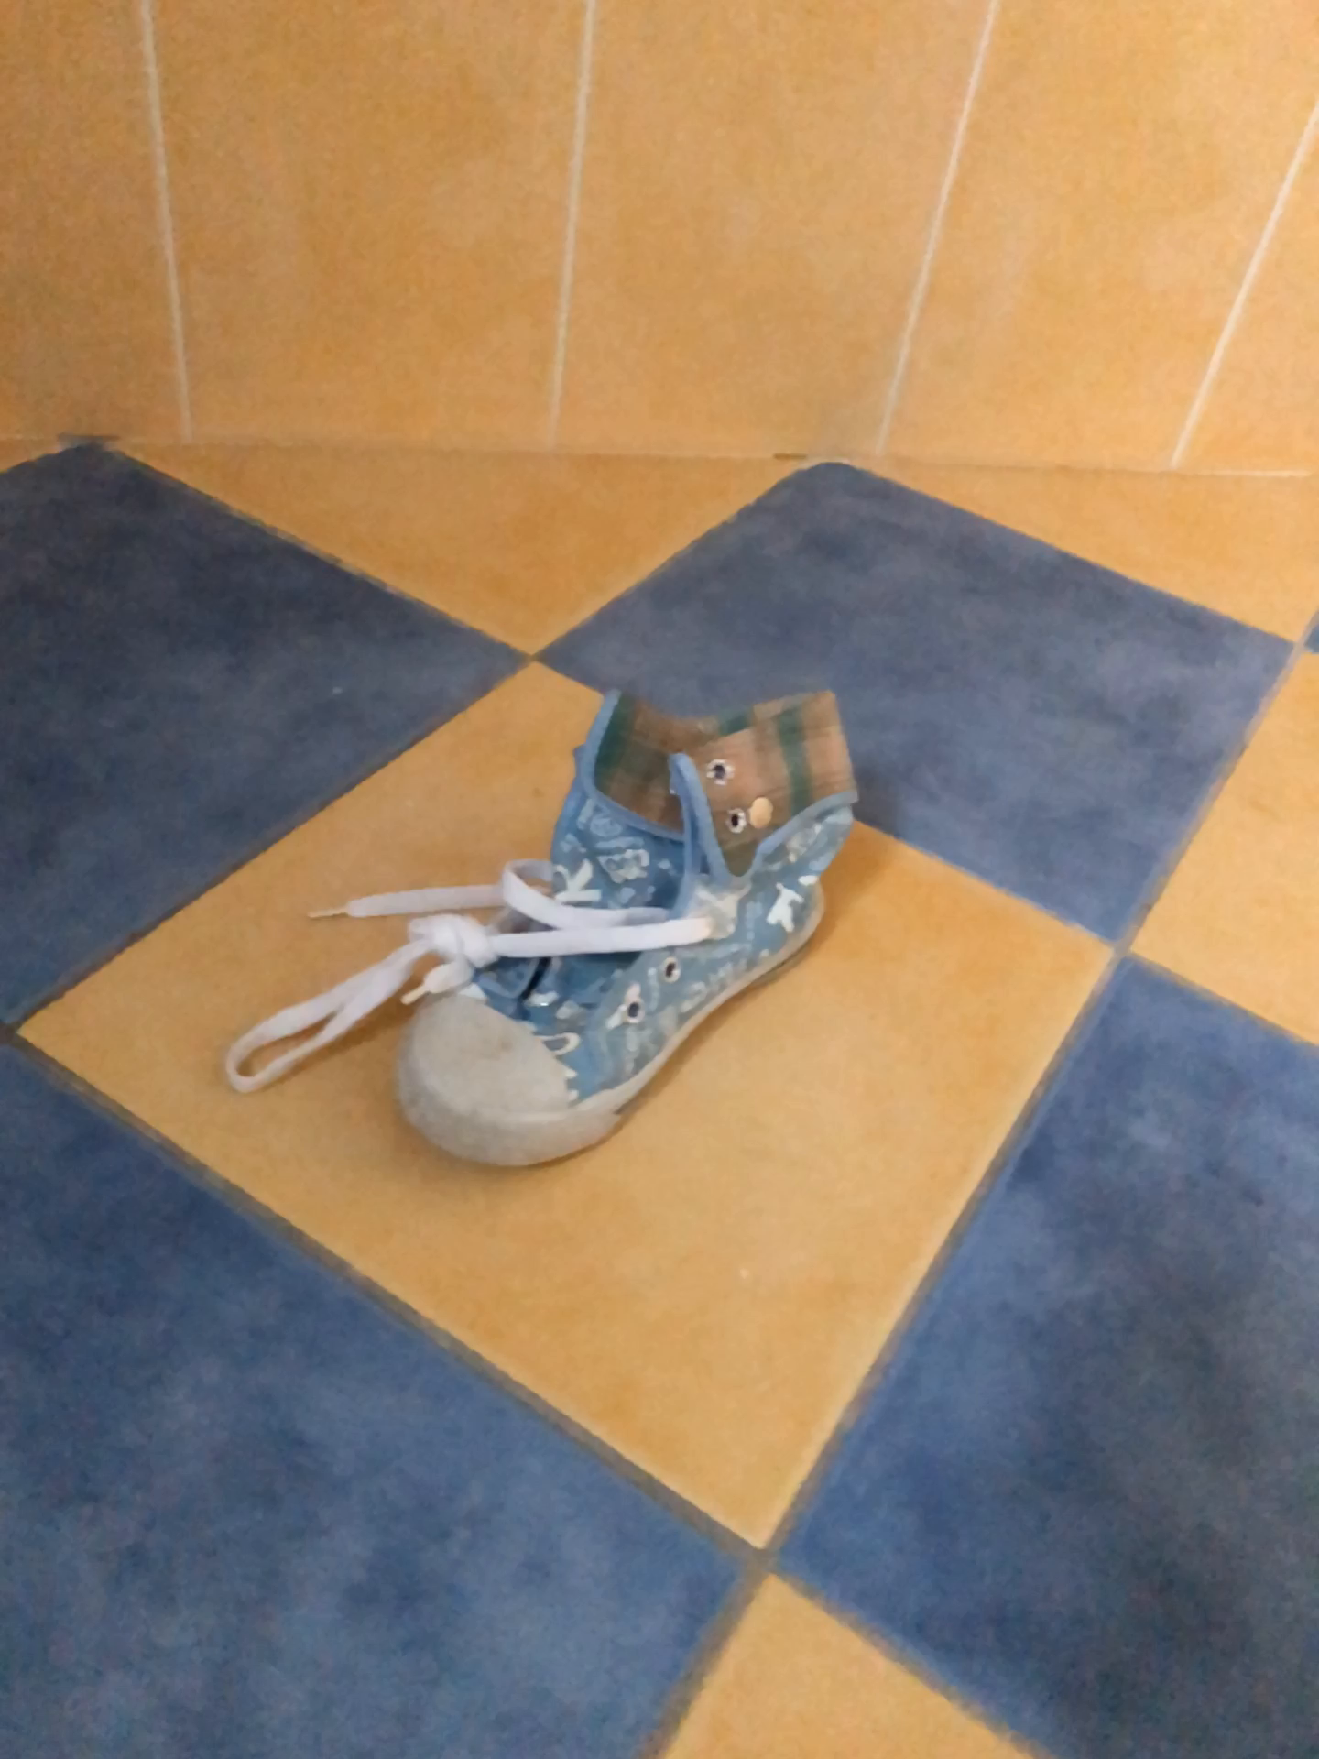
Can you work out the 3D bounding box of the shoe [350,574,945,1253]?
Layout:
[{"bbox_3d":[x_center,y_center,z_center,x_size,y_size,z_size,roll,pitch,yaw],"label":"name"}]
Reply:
[{"bbox_3d":[-0.001,0.002,0.483,0.080,0.119,0.201,30,46,21],"label":"shoe"}]
